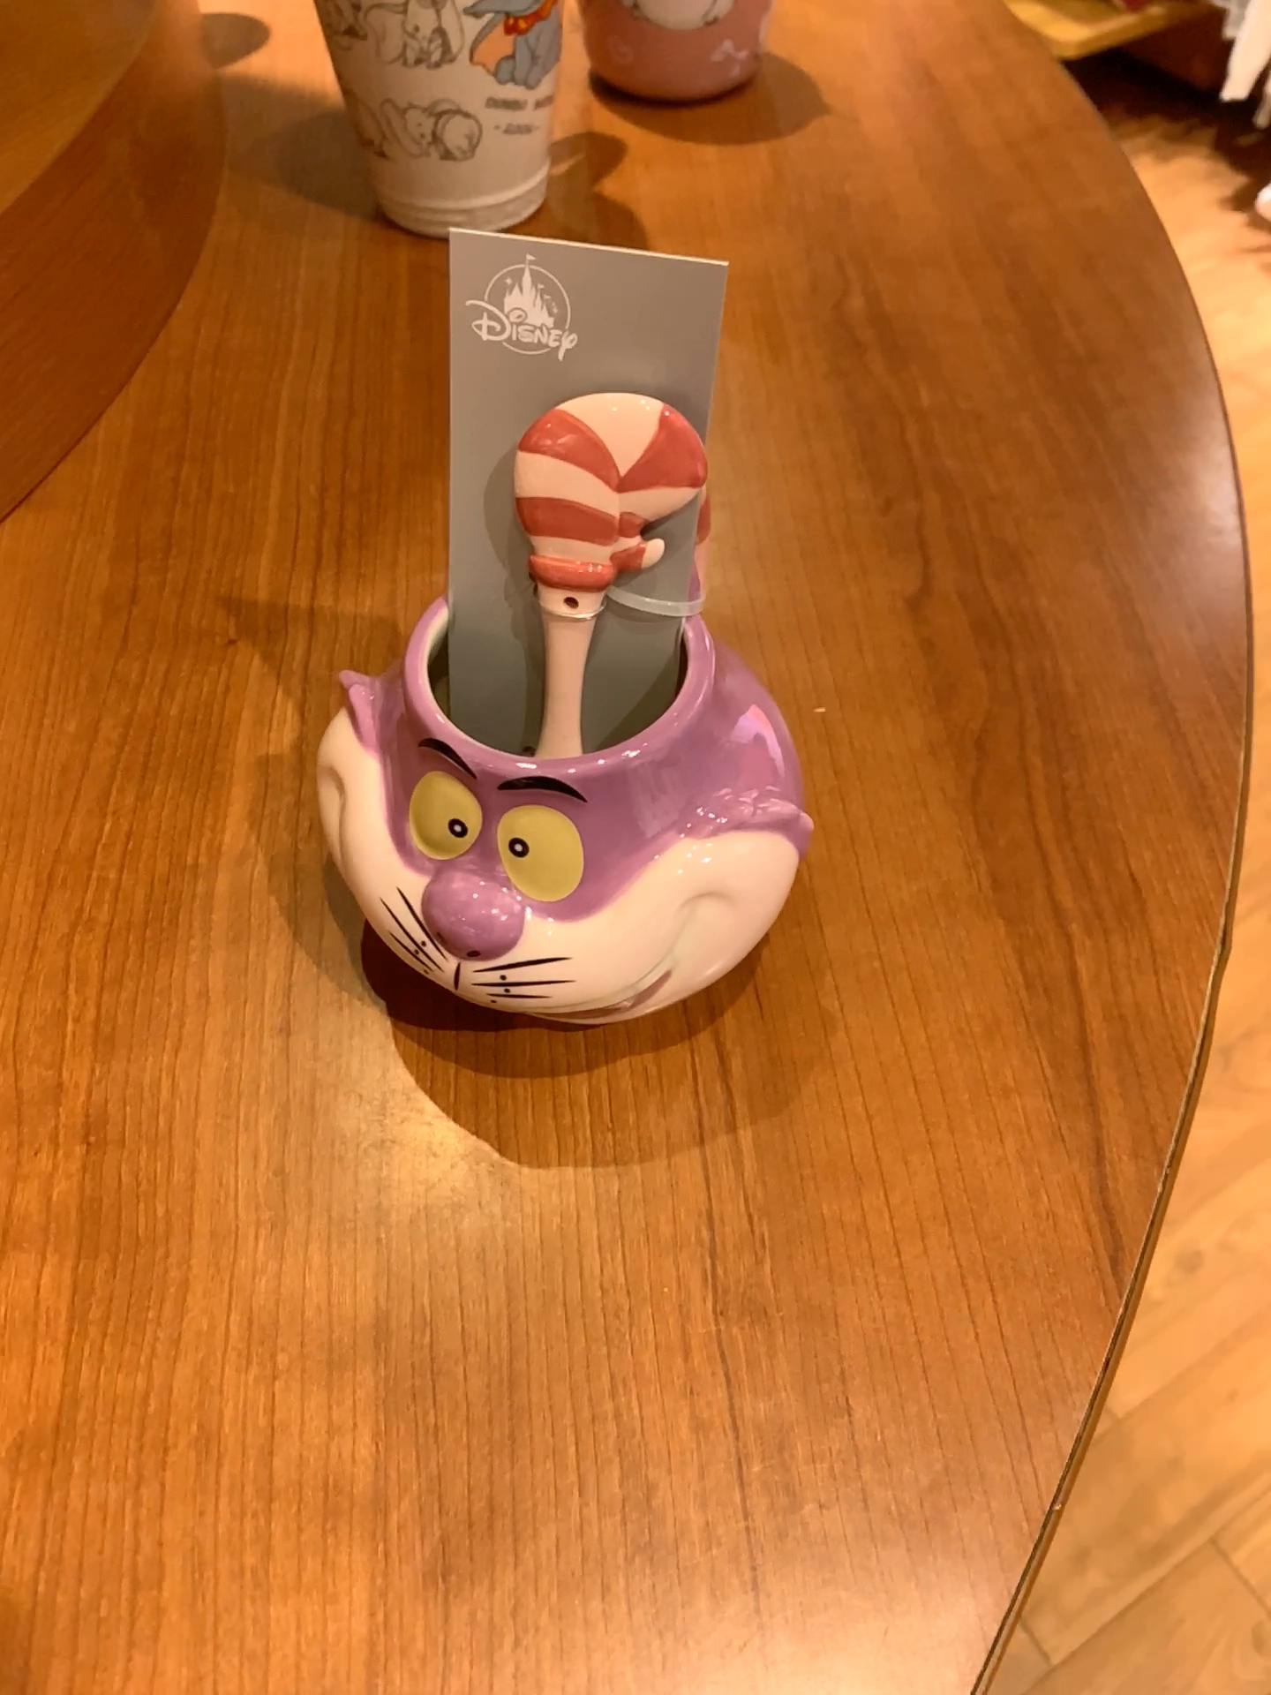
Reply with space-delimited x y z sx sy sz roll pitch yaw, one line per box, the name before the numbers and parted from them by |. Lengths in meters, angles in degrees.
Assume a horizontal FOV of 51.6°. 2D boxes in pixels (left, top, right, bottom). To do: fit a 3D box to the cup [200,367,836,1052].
cup | -0.017 -0.036 0.309 0.114 0.077 0.143 2 53 3
